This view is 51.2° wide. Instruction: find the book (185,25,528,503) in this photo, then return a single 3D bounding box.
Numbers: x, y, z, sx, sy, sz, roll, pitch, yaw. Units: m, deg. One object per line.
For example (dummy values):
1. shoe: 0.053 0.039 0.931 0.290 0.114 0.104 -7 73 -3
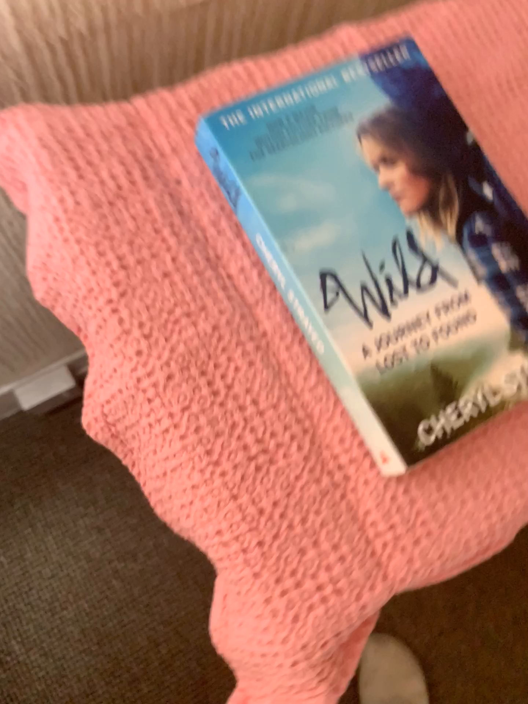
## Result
1. book: 0.072 -0.054 0.283 0.140 0.030 0.210 -28 82 -15
